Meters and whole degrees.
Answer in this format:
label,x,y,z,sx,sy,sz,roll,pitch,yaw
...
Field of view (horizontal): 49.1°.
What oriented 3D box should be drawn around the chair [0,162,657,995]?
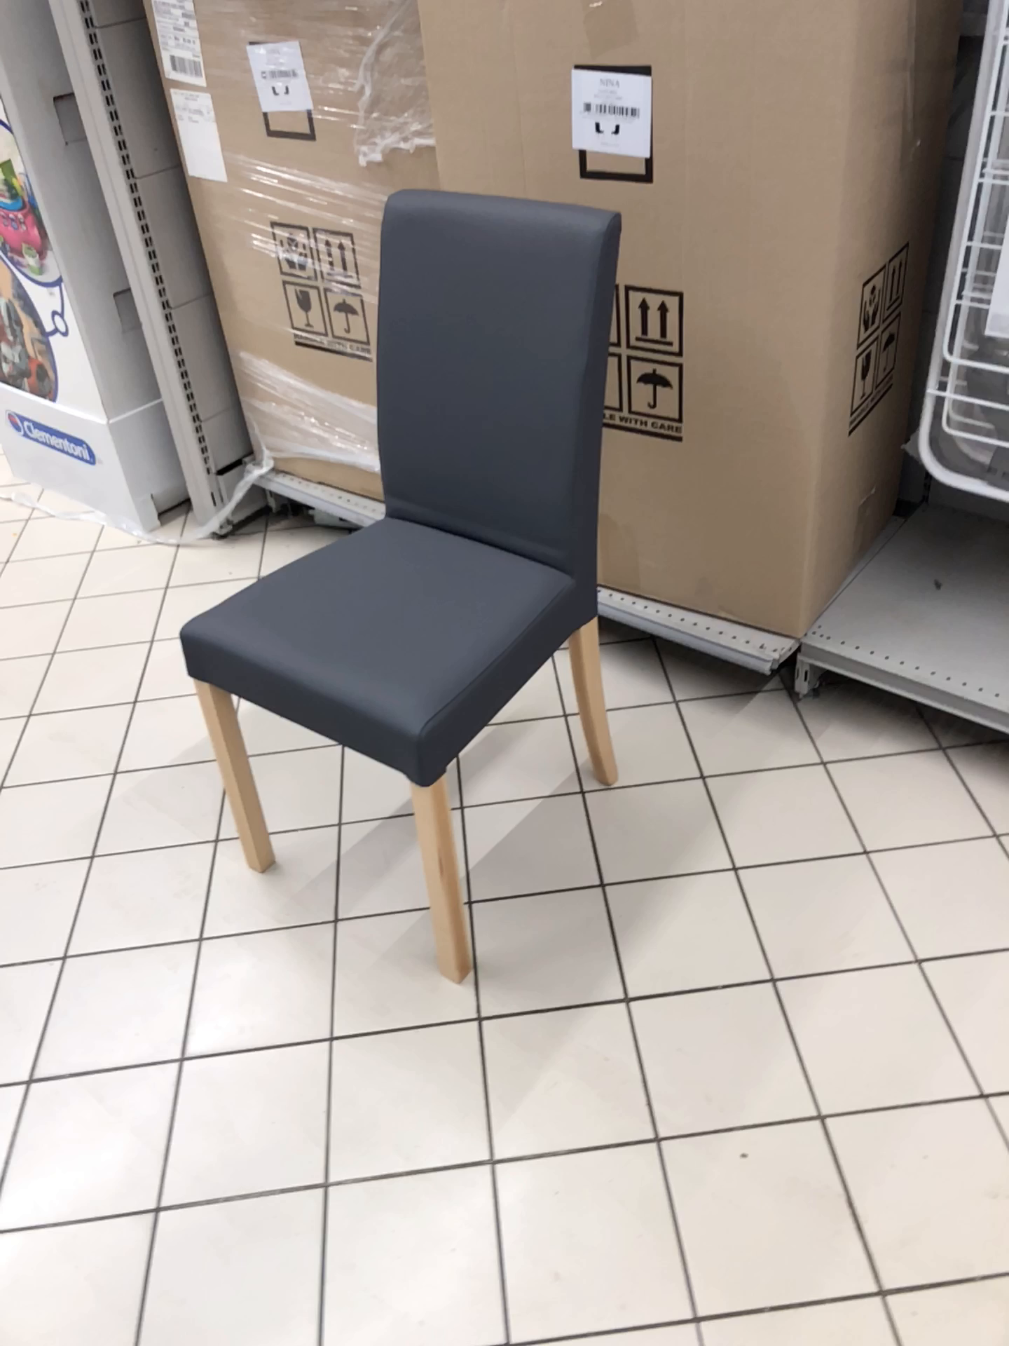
label,x,y,z,sx,sy,sz,roll,pitch,yaw
chair,-0.148,-0.143,1.440,0.470,0.825,0.573,17,43,29
